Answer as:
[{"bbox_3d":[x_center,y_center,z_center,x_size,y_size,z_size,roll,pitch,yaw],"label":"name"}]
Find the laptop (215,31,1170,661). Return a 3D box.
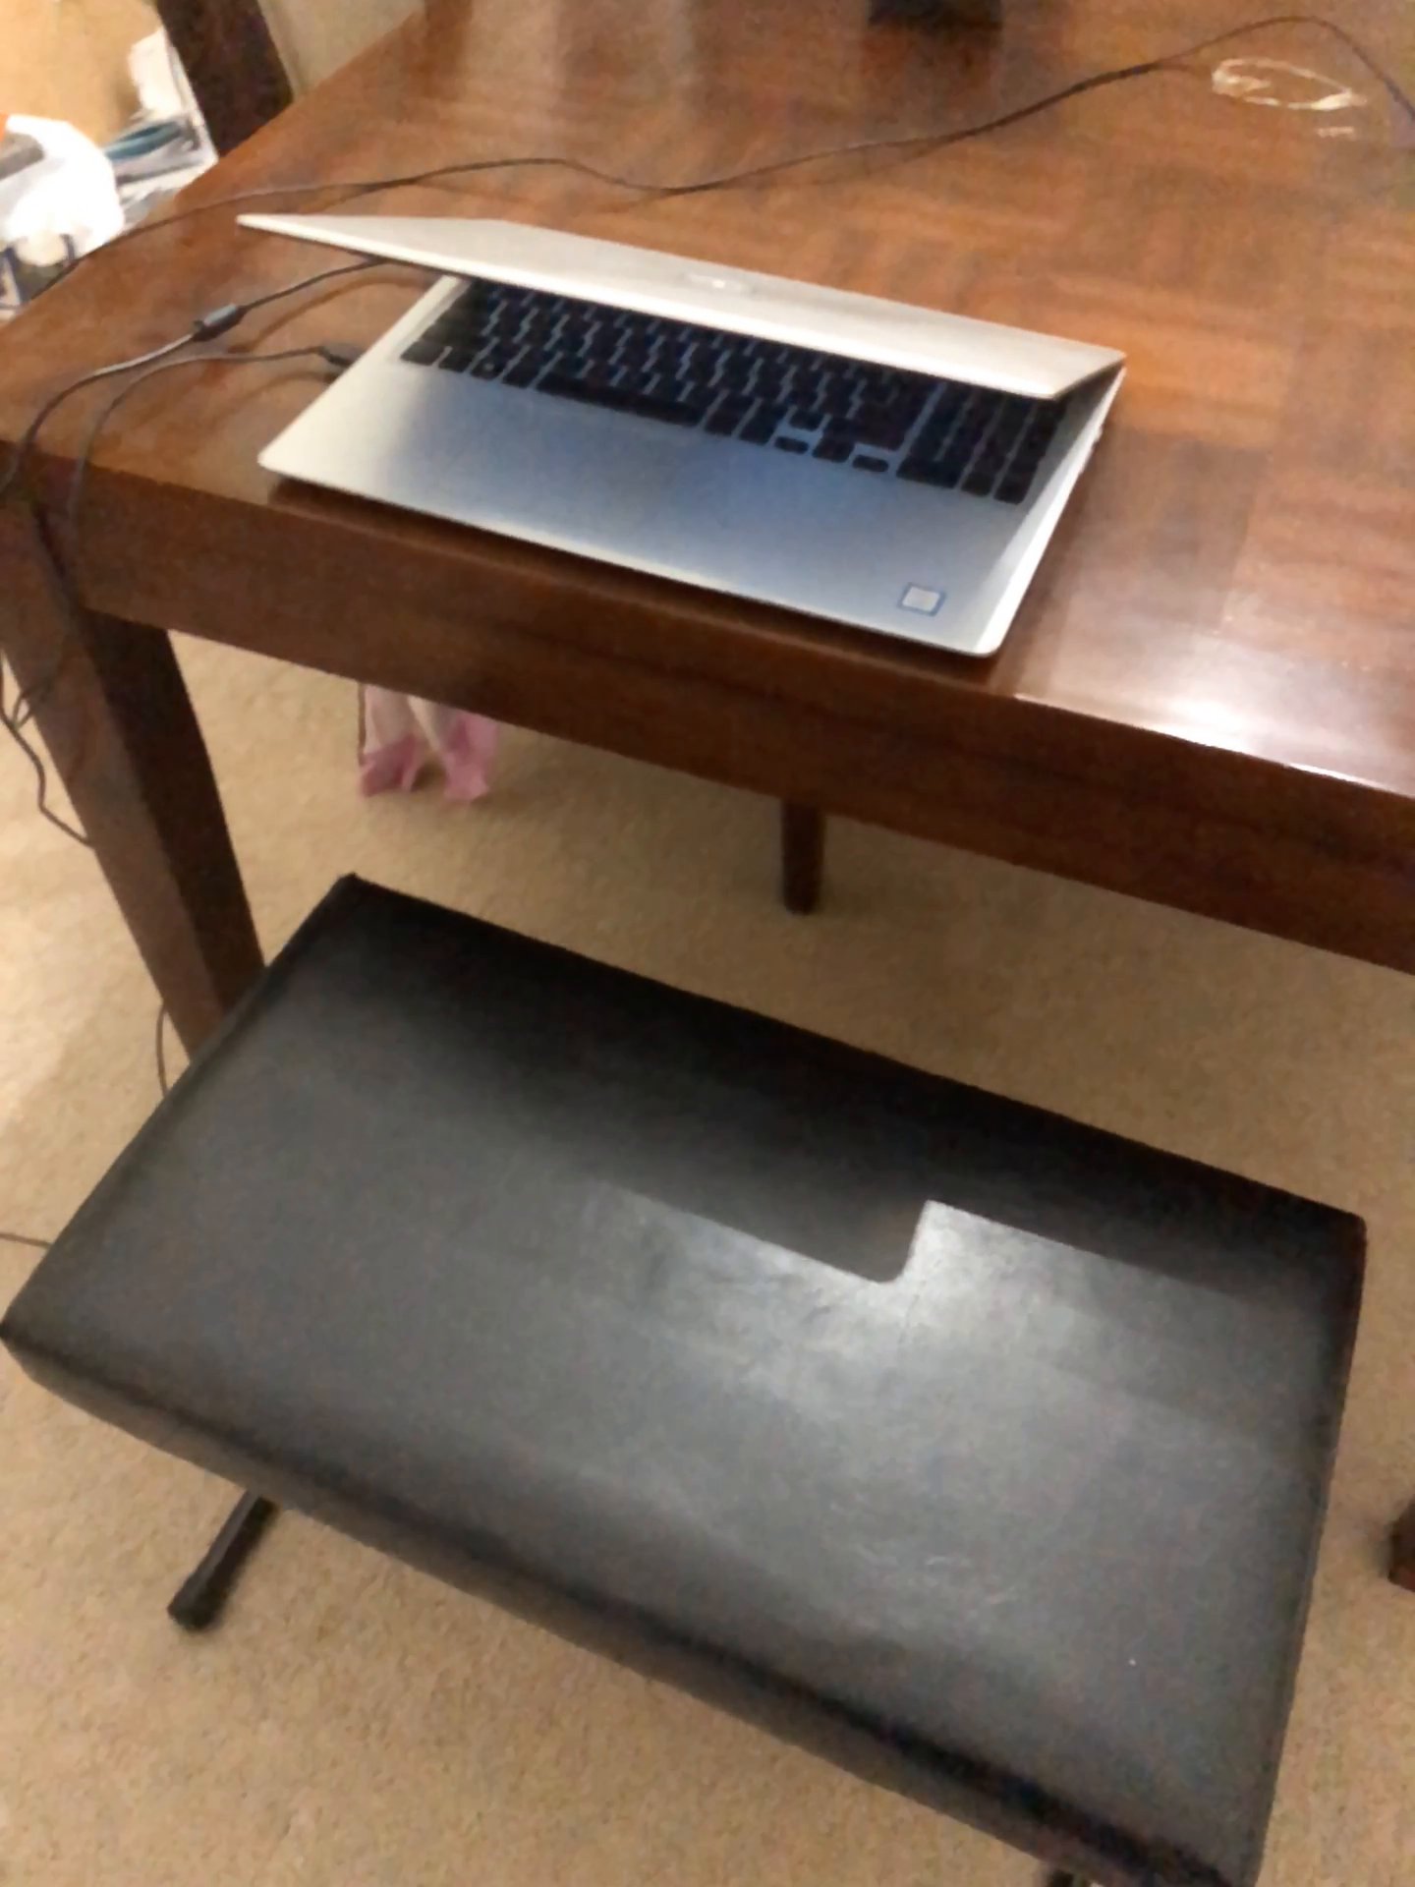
[{"bbox_3d":[0.000,-0.300,0.743,0.368,0.103,0.250,18,54,15],"label":"laptop"}]
